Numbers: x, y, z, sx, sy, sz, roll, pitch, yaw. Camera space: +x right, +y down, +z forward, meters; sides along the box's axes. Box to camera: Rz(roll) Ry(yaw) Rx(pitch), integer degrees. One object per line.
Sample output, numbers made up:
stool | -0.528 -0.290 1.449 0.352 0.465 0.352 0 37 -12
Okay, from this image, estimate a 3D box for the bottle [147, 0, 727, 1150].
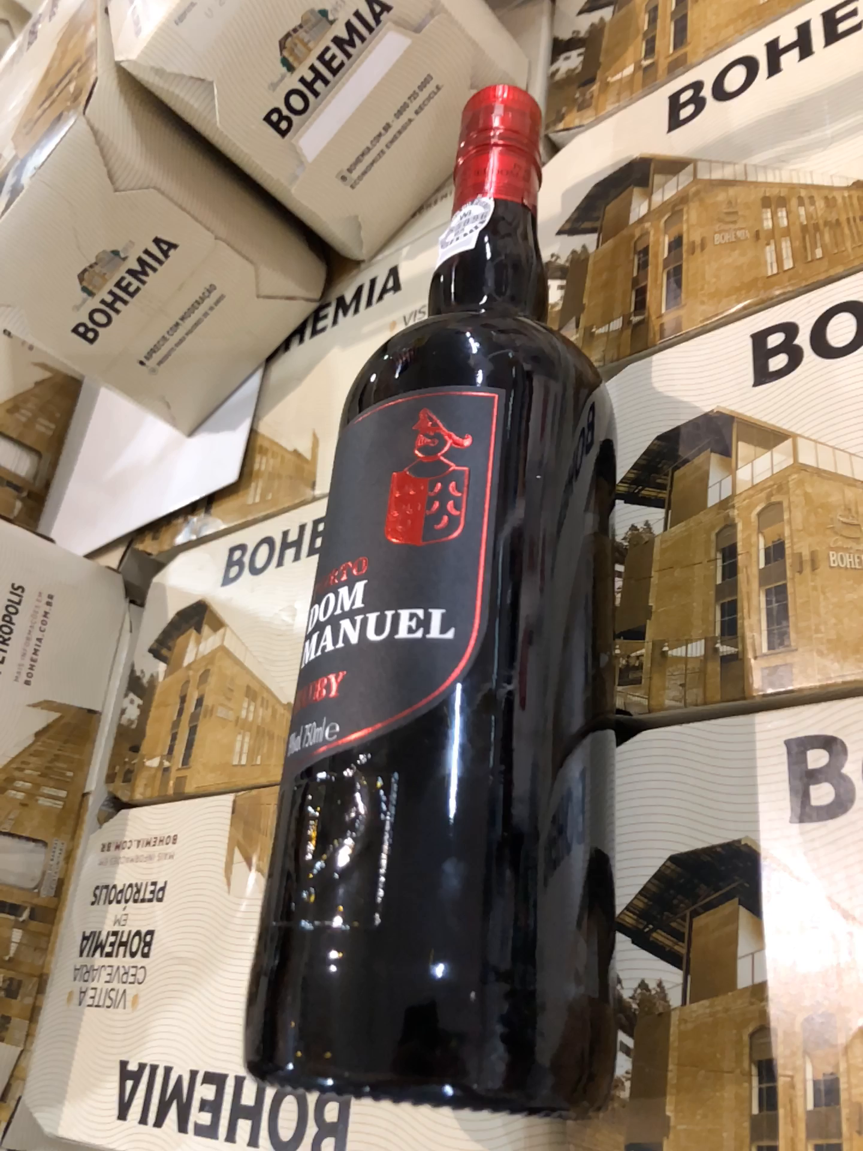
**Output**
bottle | 0.014 -0.028 0.262 0.090 0.070 0.331 -13 58 31
